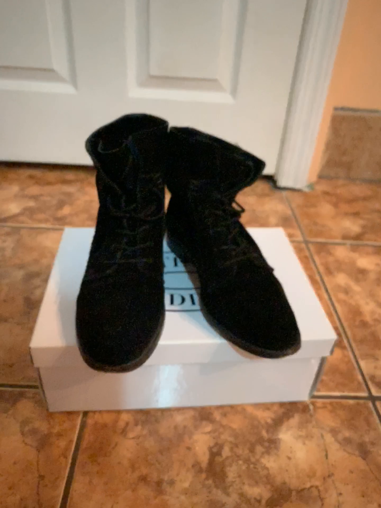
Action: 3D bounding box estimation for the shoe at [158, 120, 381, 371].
[{"bbox_3d":[0.050,-0.035,0.432,0.107,0.142,0.269,-7,36,-17],"label":"shoe"}]

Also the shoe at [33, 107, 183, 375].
[{"bbox_3d":[-0.059,-0.034,0.401,0.094,0.152,0.259,3,34,-3],"label":"shoe"}]
